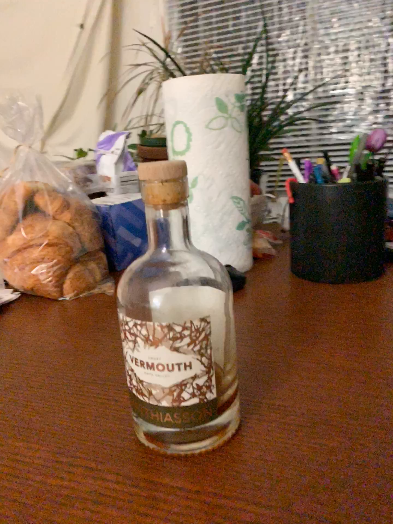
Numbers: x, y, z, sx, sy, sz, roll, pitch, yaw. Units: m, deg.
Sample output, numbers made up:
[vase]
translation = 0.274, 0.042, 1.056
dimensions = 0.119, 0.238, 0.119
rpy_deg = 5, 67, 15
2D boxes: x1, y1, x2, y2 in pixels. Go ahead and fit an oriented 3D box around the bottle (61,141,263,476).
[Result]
[bottle]
translation = -0.011, 0.023, 0.265
dimensions = 0.090, 0.189, 0.080
rpy_deg = 1, 16, 19
